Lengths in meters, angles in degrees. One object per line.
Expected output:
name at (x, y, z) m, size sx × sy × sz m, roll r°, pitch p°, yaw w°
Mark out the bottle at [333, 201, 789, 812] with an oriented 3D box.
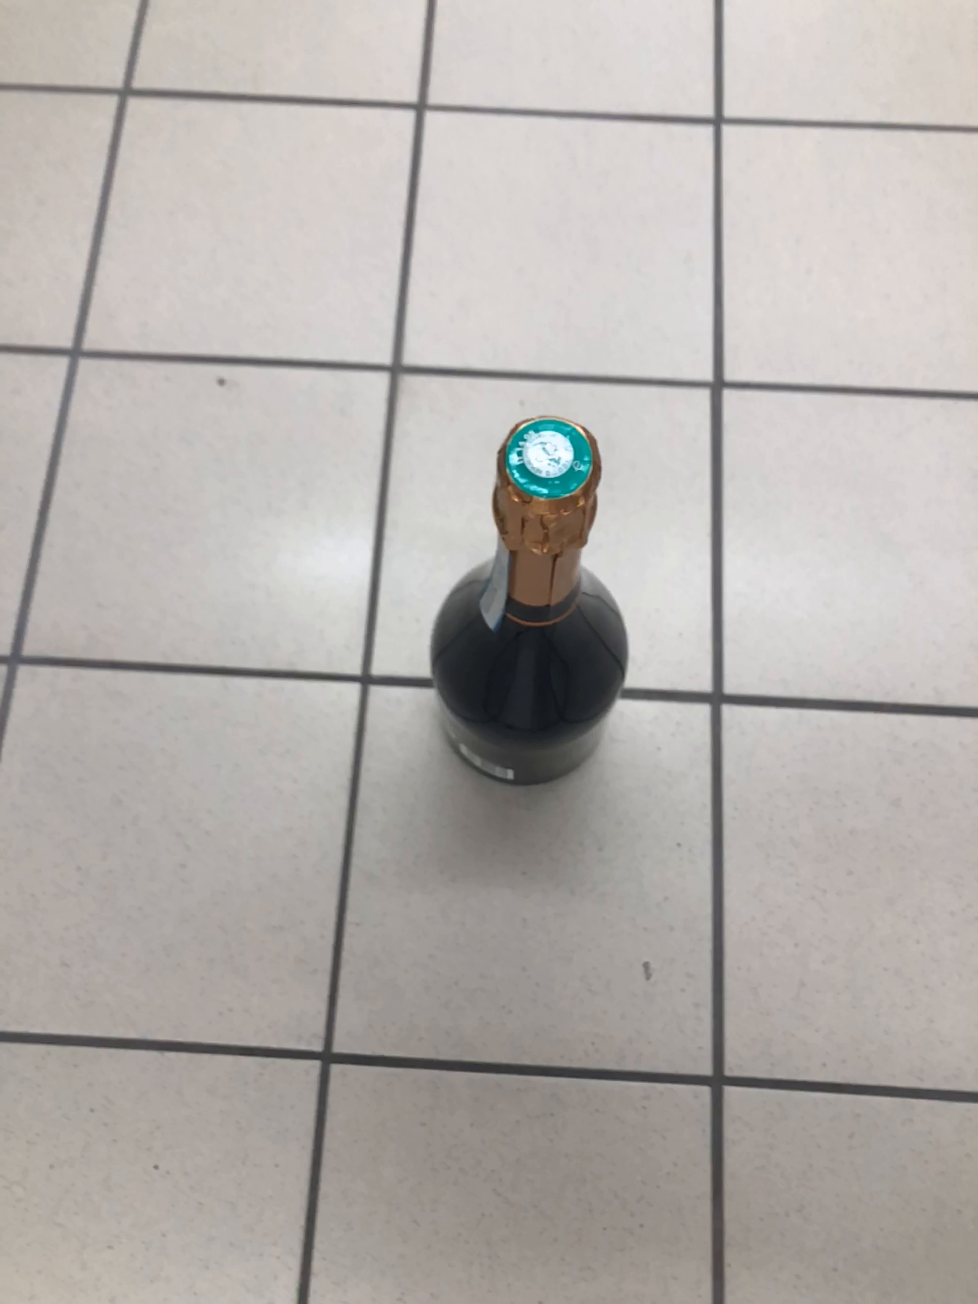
bottle at (0.020, -0.024, 0.458) m, size 0.090 × 0.319 × 0.100 m, roll -28°, pitch 74°, yaw -8°
